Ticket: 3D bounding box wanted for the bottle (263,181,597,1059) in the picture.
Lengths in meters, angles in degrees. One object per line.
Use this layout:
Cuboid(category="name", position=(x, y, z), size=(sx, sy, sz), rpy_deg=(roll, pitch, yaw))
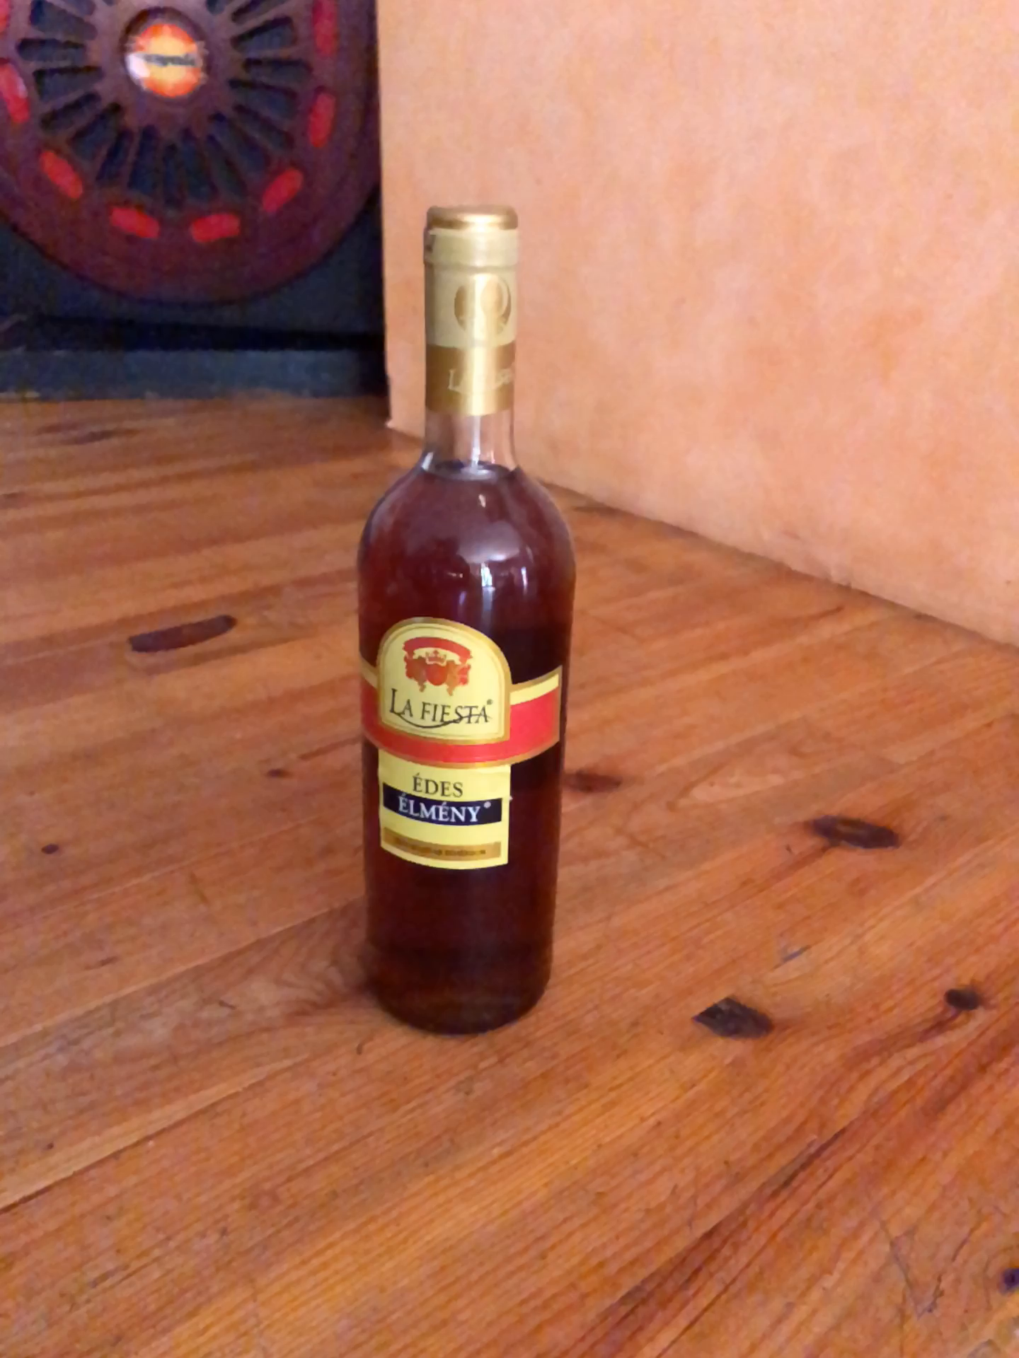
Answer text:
Cuboid(category="bottle", position=(-0.021, -0.014, 0.392), size=(0.080, 0.288, 0.081), rpy_deg=(1, 24, 0))
